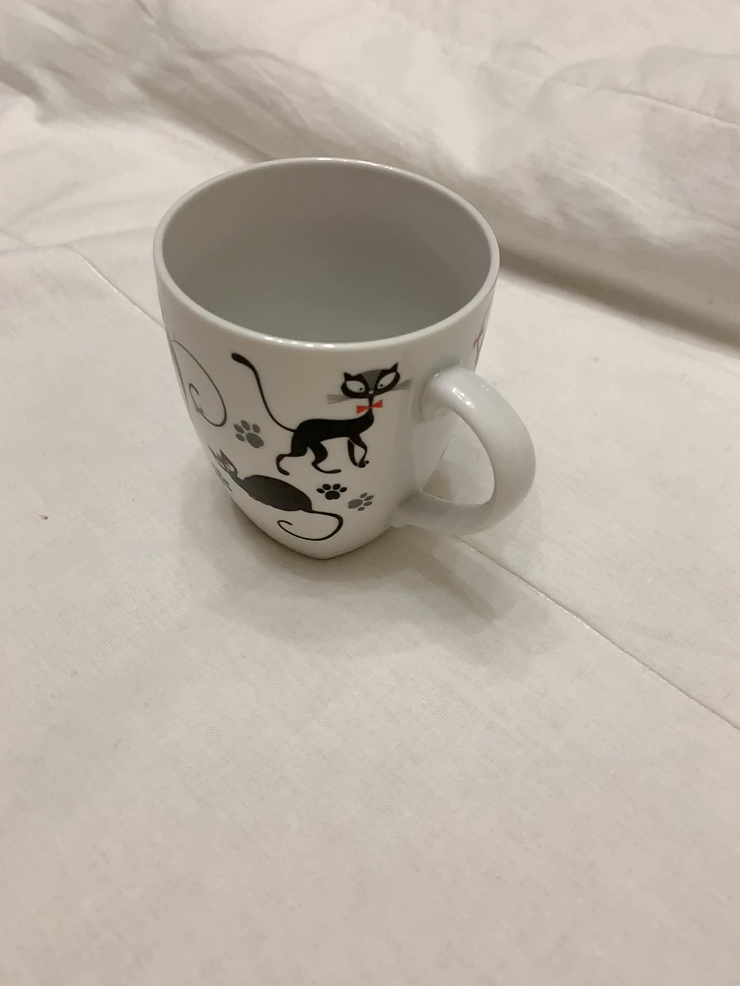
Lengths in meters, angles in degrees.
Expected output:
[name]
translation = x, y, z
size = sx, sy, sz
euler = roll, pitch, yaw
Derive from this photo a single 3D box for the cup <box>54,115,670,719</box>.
[cup]
translation = -0.008, -0.027, 0.197
size = 0.081, 0.077, 0.119
euler = -28, 54, -23
